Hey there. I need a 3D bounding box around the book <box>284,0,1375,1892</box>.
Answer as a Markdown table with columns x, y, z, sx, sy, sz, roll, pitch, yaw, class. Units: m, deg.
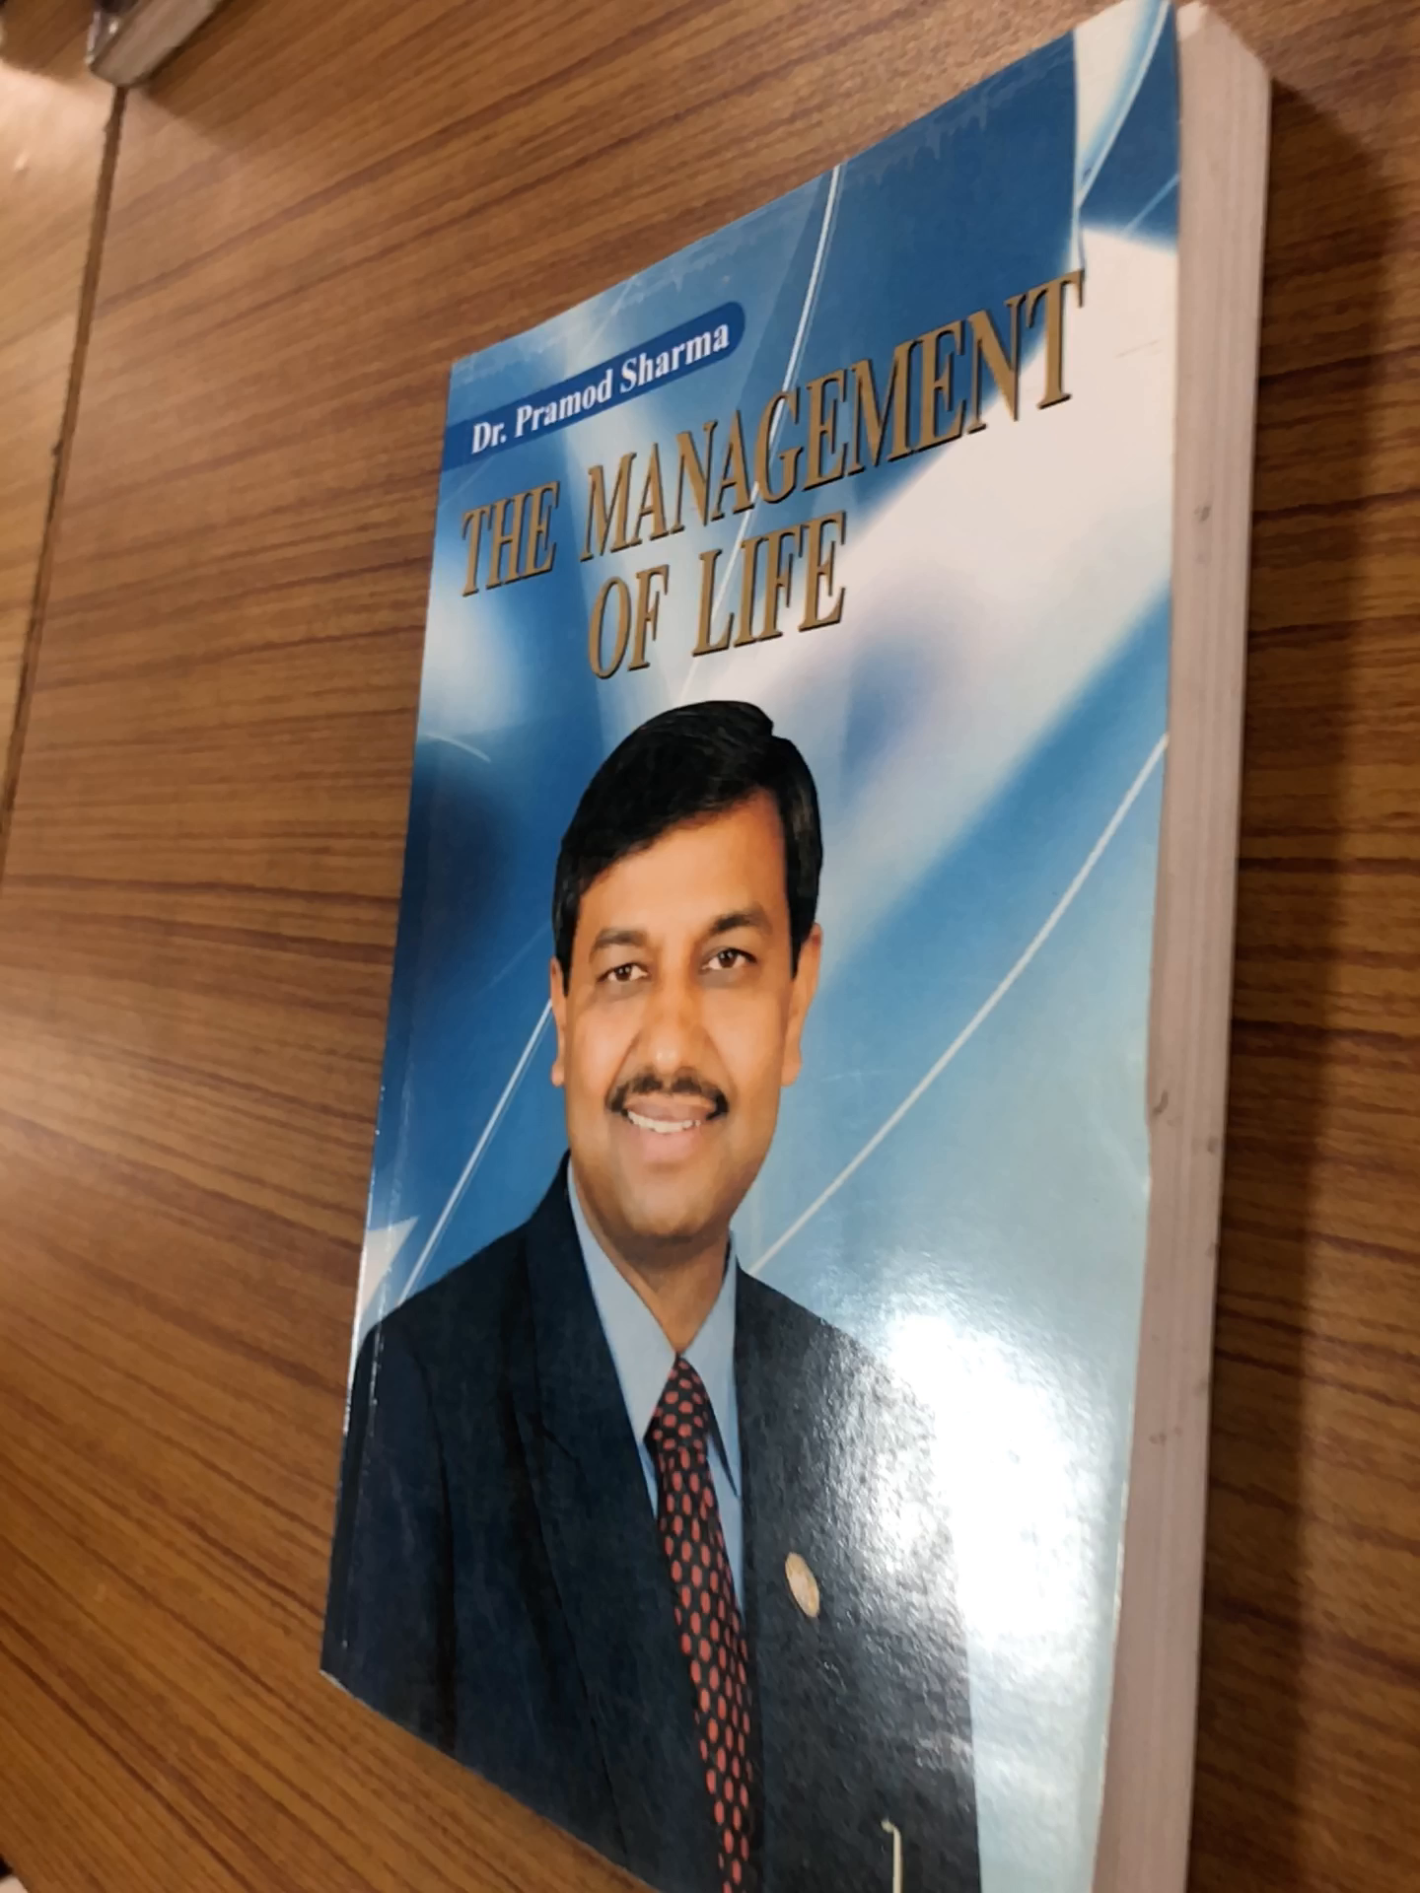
| x | y | z | sx | sy | sz | roll | pitch | yaw | class |
| --- | --- | --- | --- | --- | --- | --- | --- | --- | --- |
| 0.001 | 0.010 | 0.200 | 0.151 | 0.020 | 0.210 | -2 | 81 | 49 | book |
